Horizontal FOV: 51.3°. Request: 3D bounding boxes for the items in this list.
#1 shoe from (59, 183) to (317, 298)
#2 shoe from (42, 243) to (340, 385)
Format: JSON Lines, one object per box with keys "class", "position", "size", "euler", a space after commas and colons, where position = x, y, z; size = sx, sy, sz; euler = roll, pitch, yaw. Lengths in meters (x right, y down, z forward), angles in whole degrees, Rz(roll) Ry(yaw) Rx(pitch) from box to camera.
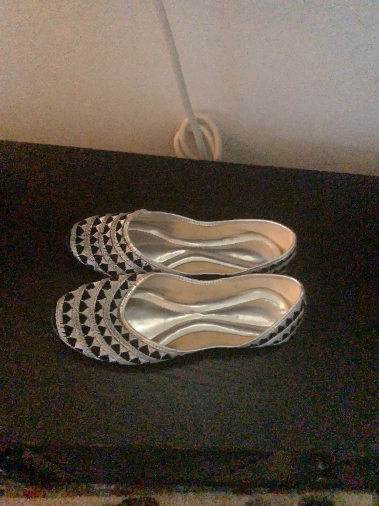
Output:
{"class": "shoe", "position": [-0.003, -0.012, 0.471], "size": [0.270, 0.079, 0.101], "euler": [2, 55, -7]}
{"class": "shoe", "position": [-0.001, 0.059, 0.400], "size": [0.260, 0.079, 0.101], "euler": [-2, 55, -10]}
